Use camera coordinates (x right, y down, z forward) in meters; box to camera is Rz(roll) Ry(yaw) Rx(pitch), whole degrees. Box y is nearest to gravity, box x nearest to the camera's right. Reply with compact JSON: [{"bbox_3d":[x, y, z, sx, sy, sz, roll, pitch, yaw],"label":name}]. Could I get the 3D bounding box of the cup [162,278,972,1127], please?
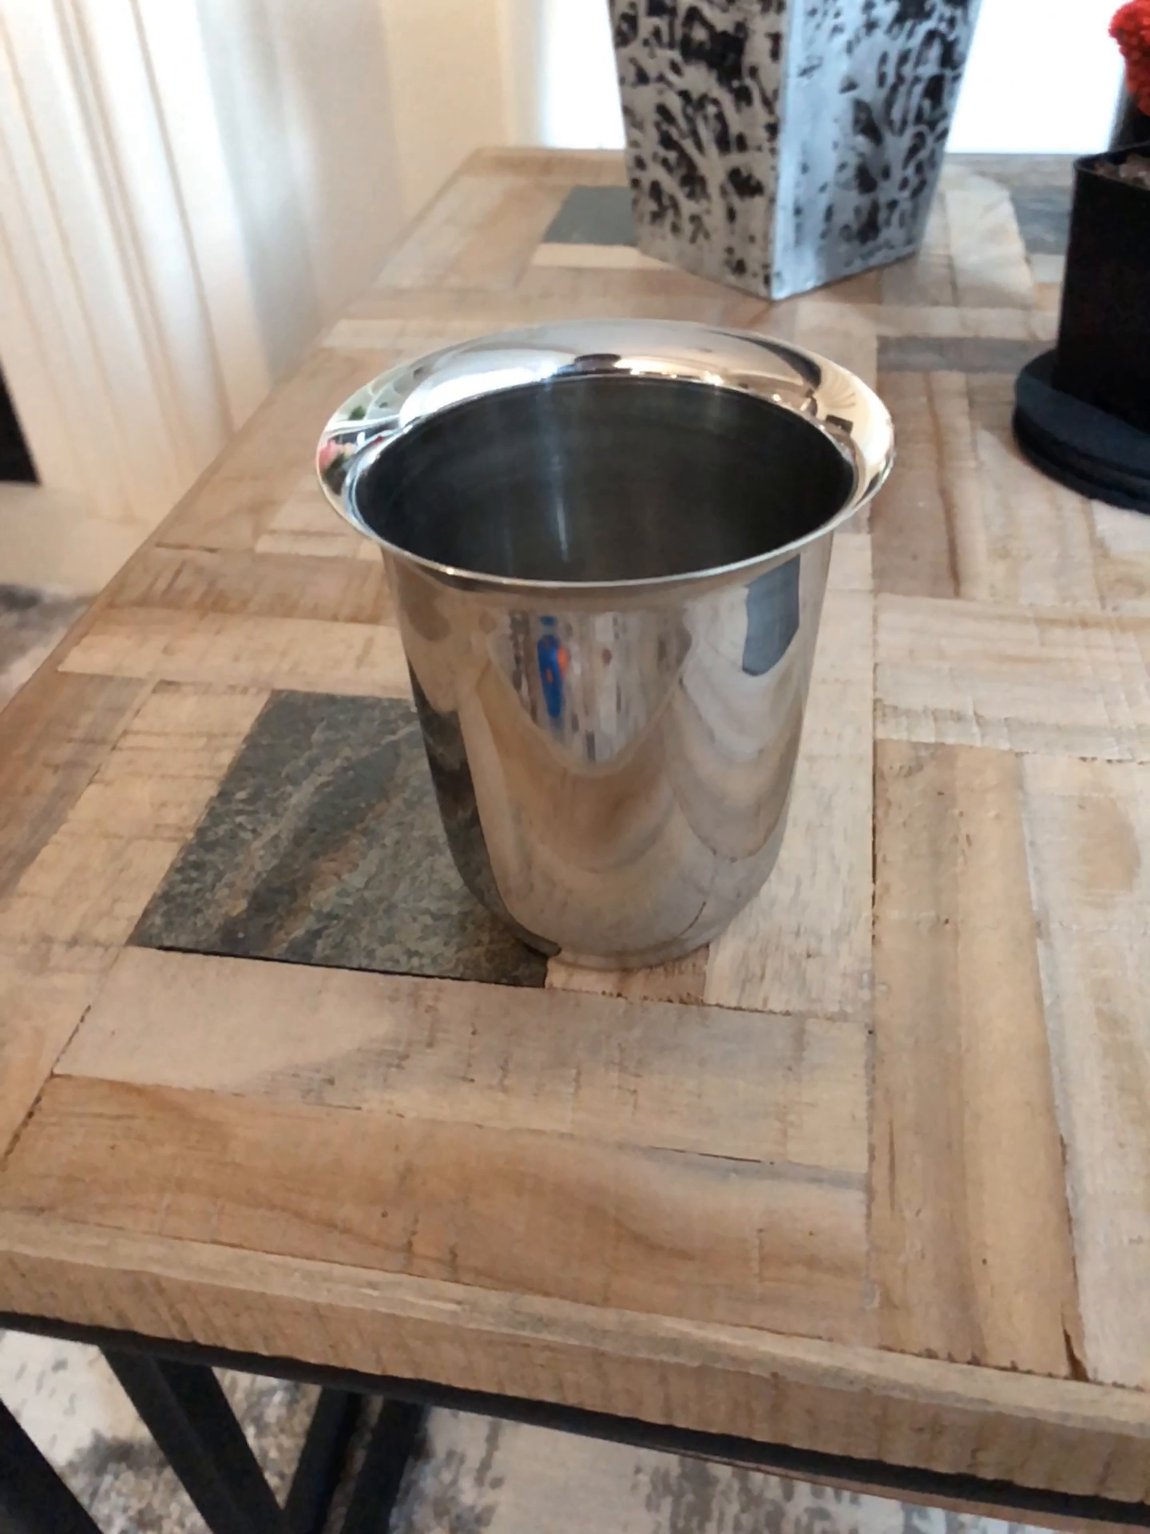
[{"bbox_3d":[0.002,-0.016,0.214,0.082,0.088,0.085,-2,40,2],"label":"cup"}]
